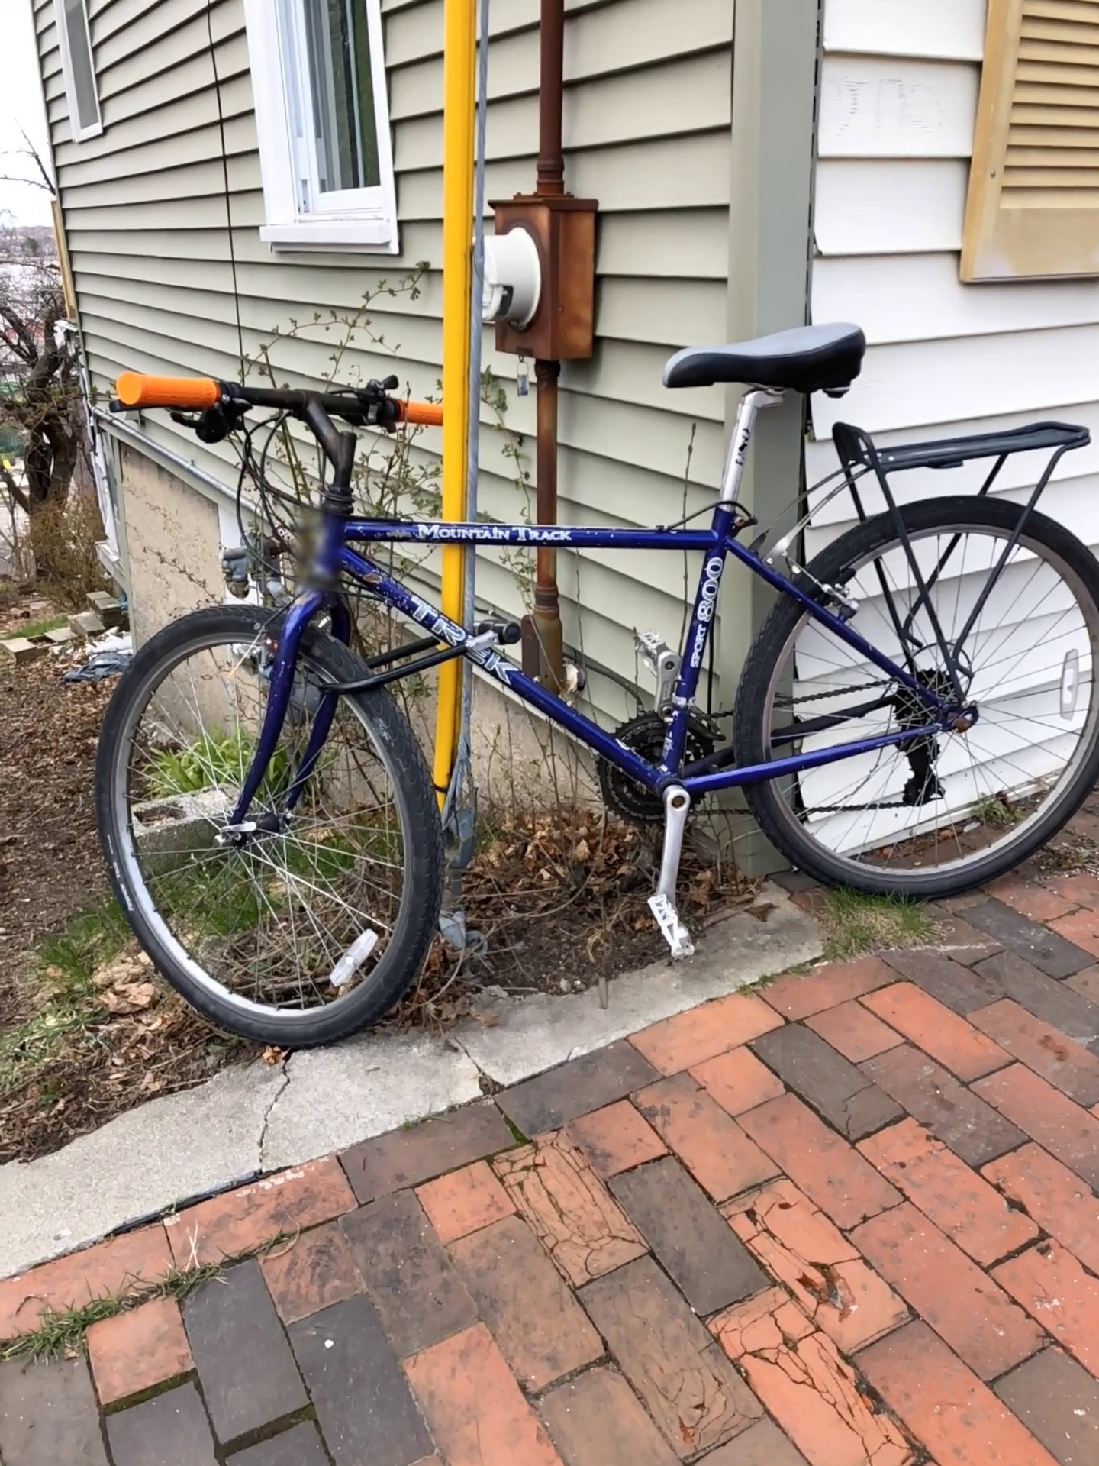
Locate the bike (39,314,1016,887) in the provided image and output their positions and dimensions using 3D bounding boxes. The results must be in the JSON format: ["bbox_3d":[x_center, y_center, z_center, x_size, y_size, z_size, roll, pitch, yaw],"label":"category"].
[{"bbox_3d":[-0.089,-0.208,1.773,1.146,0.690,0.515,-2,23,3],"label":"bike"}]
